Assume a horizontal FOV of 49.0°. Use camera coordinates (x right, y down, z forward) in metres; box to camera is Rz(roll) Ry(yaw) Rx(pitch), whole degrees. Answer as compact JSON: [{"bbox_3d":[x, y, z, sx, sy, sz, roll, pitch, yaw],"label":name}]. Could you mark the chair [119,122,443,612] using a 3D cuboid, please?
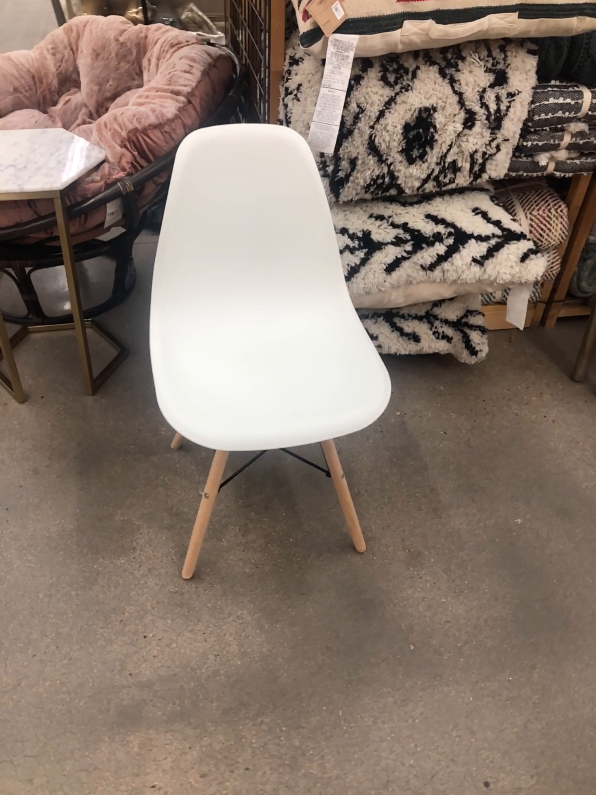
[{"bbox_3d":[-0.084,-0.052,1.334,0.440,0.806,0.533,-5,42,-10],"label":"chair"}]
